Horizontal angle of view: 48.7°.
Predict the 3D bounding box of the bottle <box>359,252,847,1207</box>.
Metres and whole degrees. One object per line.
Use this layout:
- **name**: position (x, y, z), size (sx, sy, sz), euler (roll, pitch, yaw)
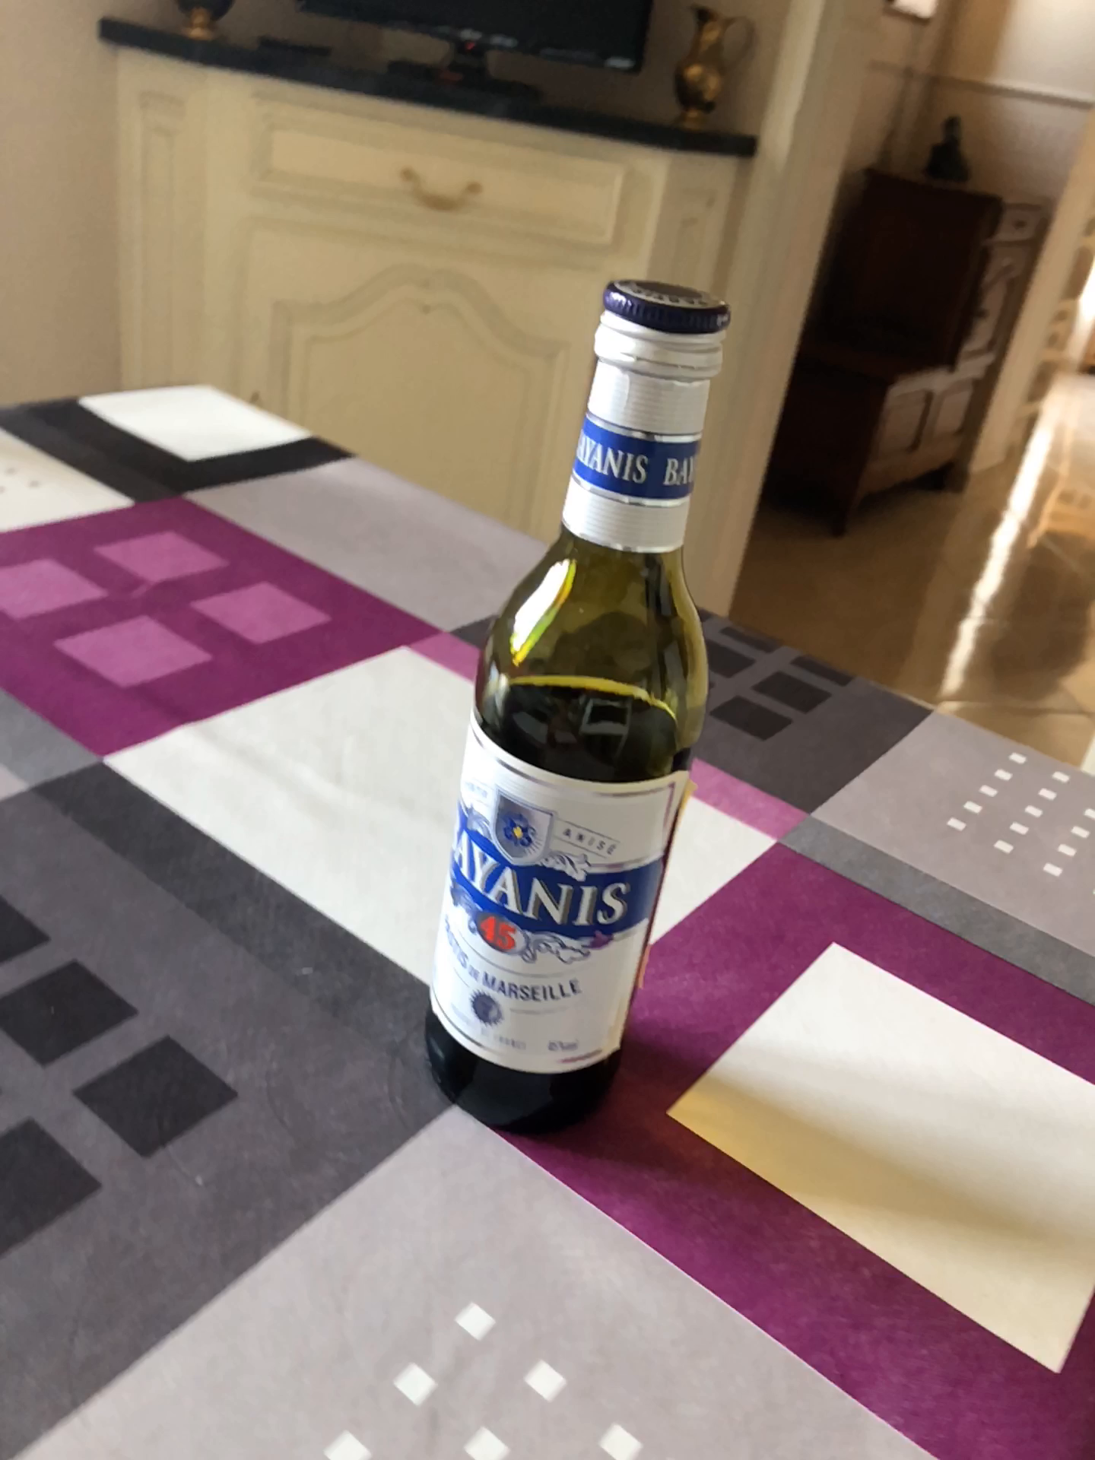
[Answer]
- **bottle**: position (0.006, 0.008, 0.347), size (0.070, 0.258, 0.070), euler (8, 29, -4)
